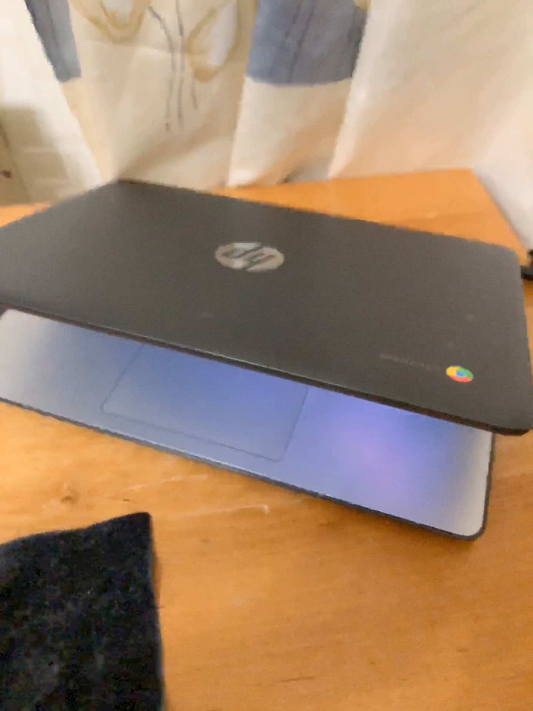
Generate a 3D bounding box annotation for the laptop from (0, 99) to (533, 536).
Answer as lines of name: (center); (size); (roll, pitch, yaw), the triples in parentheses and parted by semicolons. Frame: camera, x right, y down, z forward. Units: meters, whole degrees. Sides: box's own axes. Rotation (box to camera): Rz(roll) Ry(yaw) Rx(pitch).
laptop: (-0.008, -0.046, 0.302); (0.268, 0.066, 0.191); (14, 50, 14)
